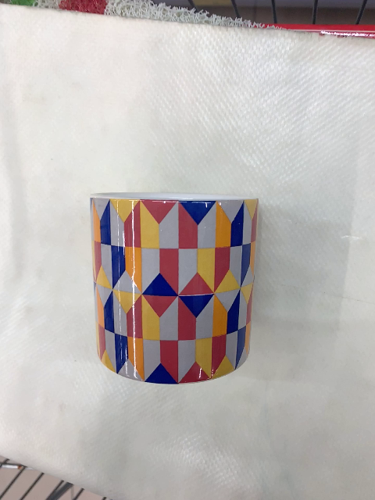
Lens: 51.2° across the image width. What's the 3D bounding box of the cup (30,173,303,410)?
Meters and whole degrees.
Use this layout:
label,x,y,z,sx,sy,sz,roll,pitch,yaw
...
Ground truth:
label,x,y,z,sx,sy,sz,roll,pitch,yaw
cup,-0.012,0.004,0.190,0.100,0.080,0.080,11,105,42
